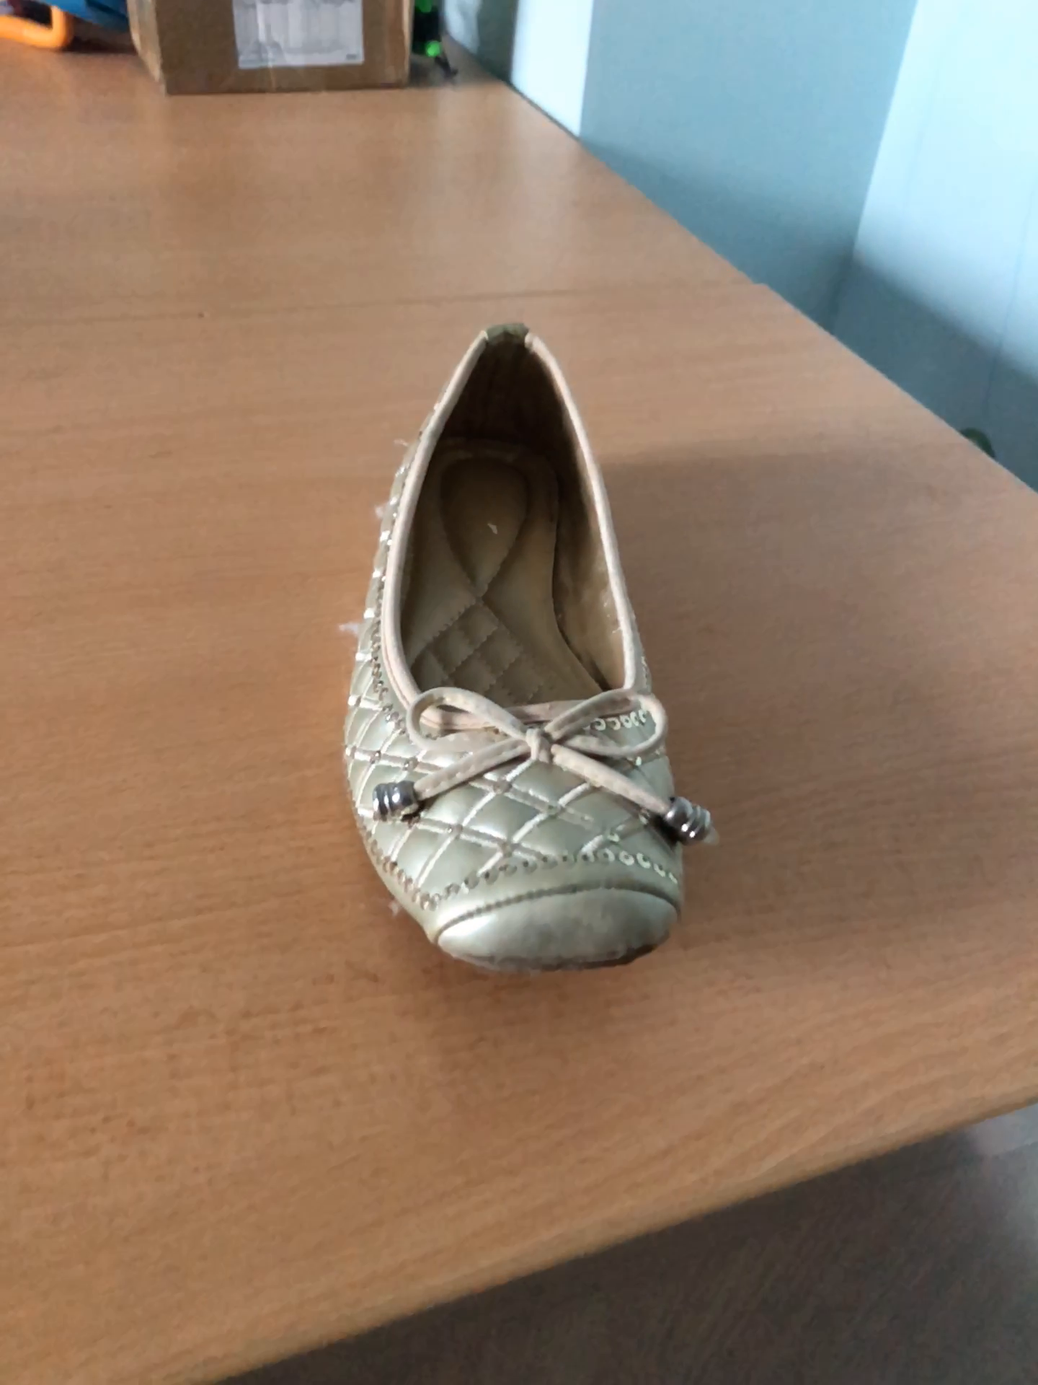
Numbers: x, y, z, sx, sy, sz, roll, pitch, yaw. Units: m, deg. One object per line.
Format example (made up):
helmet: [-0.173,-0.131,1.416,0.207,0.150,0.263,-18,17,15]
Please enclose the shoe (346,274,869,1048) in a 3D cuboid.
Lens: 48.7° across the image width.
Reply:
shoe: [0.000,-0.035,0.339,0.100,0.080,0.261,0,40,-8]
